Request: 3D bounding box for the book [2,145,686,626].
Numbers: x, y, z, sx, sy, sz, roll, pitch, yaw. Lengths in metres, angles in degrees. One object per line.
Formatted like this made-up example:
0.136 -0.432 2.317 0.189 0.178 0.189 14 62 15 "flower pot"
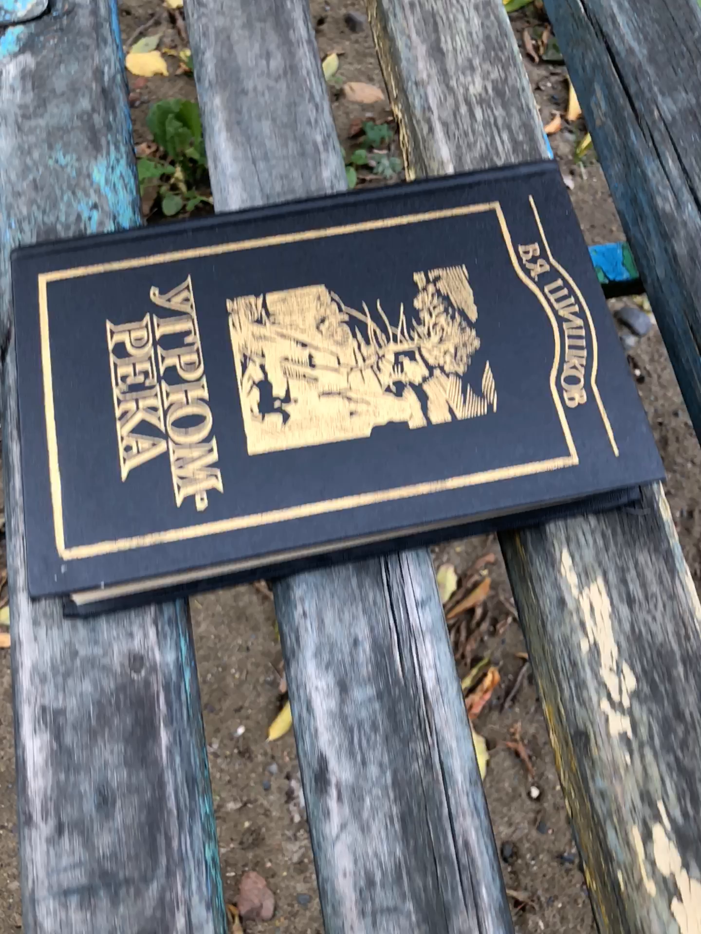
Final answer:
-0.008 -0.034 0.279 0.210 0.030 0.138 -10 72 -4 "book"
